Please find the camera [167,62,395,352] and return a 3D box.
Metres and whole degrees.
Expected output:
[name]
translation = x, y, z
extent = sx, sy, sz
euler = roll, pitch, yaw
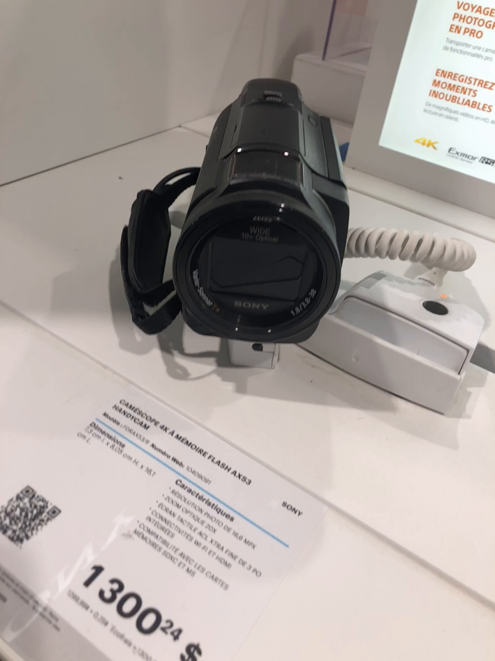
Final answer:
[camera]
translation = 0.010, -0.068, 0.260
extent = 0.073, 0.070, 0.149
euler = 6, 37, -3
